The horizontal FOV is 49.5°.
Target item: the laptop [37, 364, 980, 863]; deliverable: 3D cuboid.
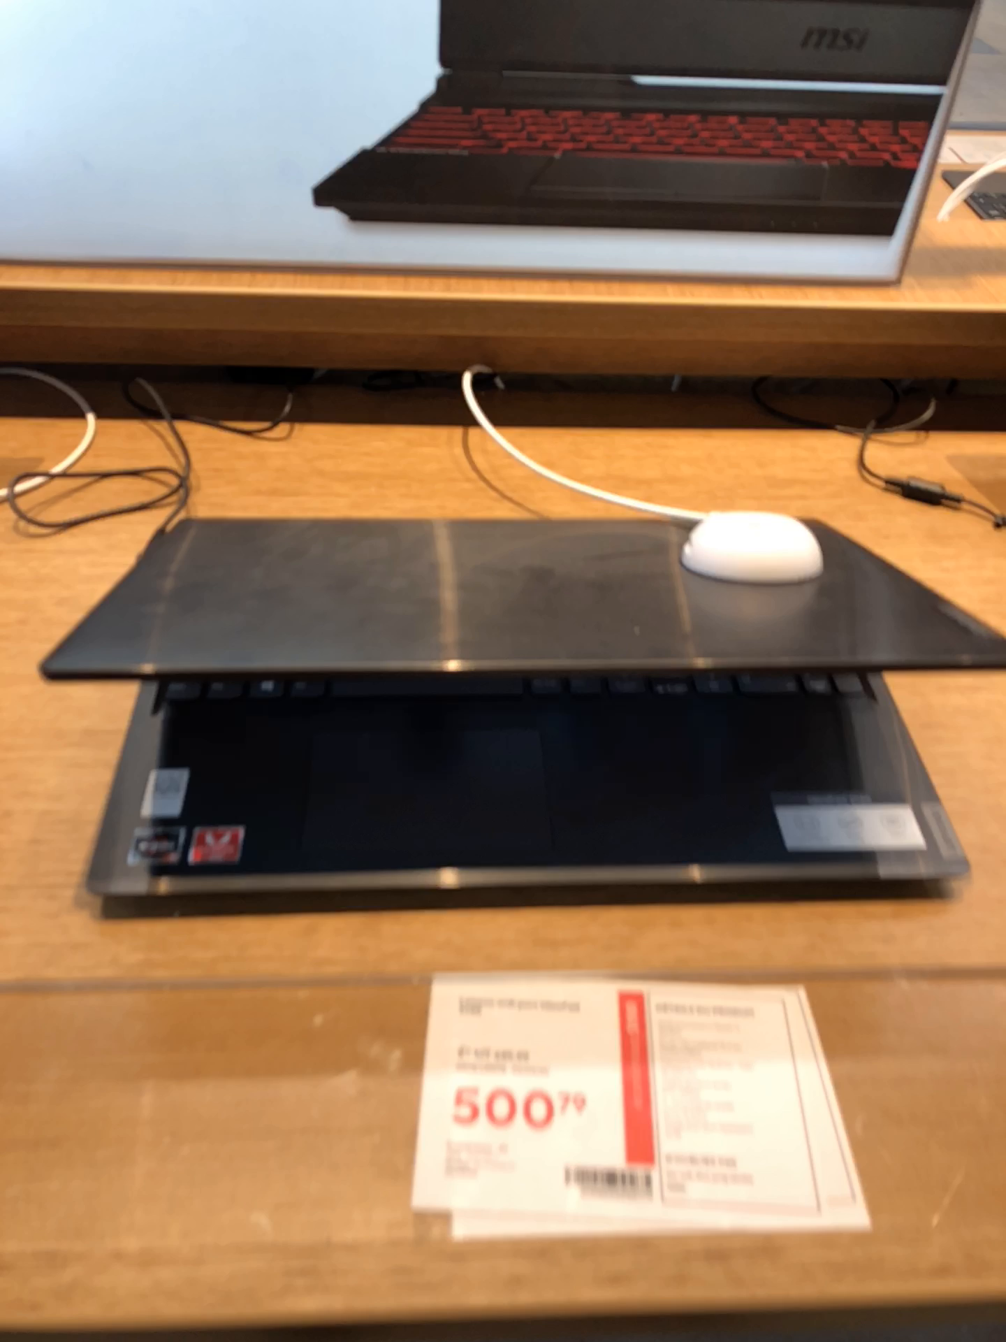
[{"bbox_3d":[0.004,-0.039,0.487,0.330,0.083,0.224,0,44,-7],"label":"laptop"}]
